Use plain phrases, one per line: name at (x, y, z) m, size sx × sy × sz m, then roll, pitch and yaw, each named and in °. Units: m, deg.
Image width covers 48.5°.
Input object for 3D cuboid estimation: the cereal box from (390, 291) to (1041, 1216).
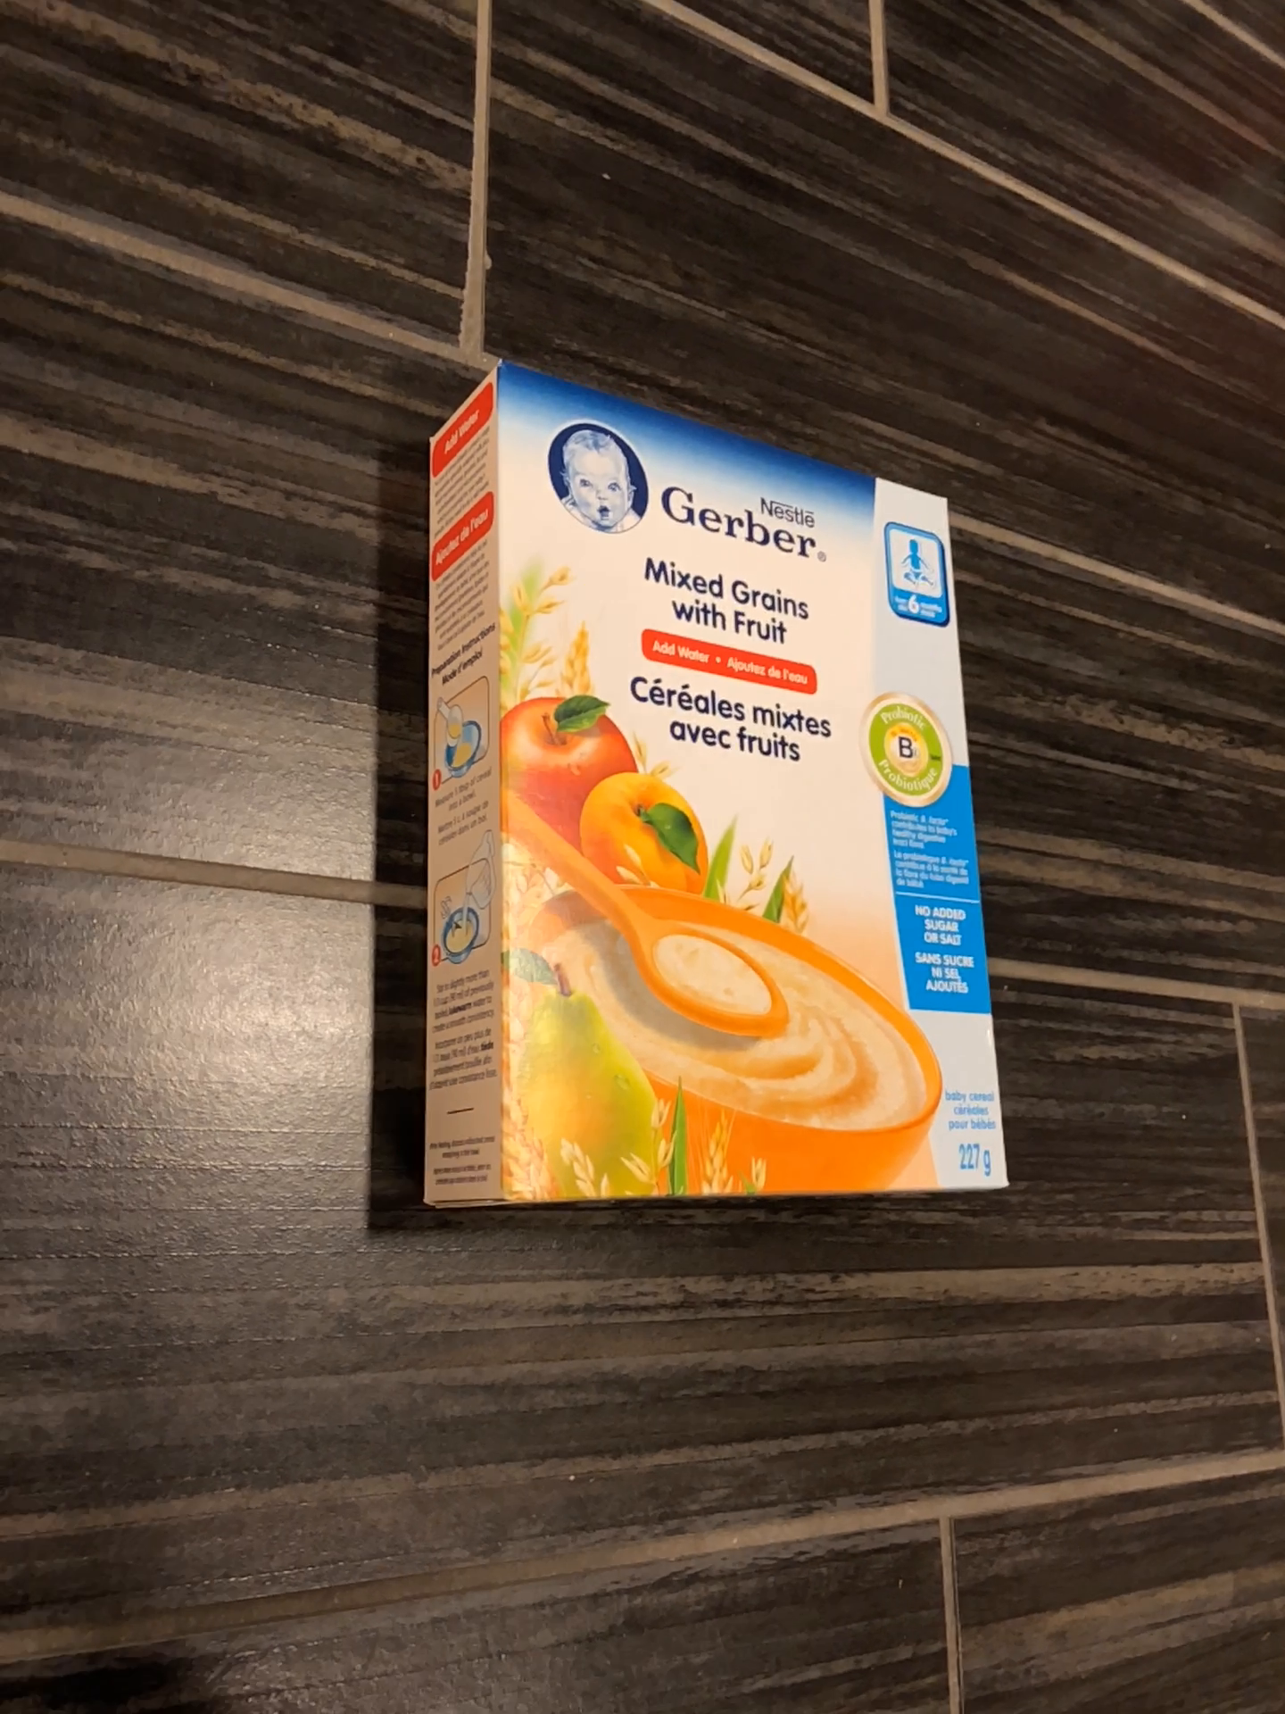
cereal box at (0.019, -0.016, 0.355) m, size 0.151 × 0.050 × 0.200 m, roll 7°, pitch 74°, yaw -32°
